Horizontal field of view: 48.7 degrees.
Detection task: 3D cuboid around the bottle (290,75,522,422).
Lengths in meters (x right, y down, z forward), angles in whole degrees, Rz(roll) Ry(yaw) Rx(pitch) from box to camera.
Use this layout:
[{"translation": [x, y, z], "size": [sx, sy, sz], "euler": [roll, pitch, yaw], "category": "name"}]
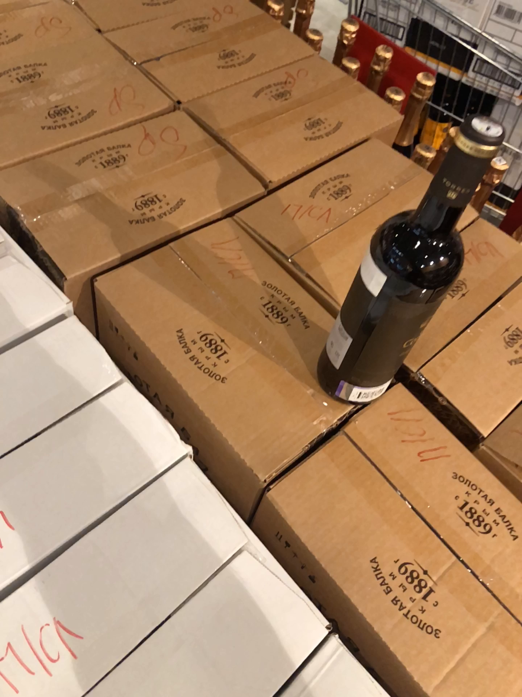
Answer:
[{"translation": [0.116, -0.059, 0.478], "size": [0.090, 0.278, 0.090], "euler": [6, 55, -8], "category": "bottle"}]
